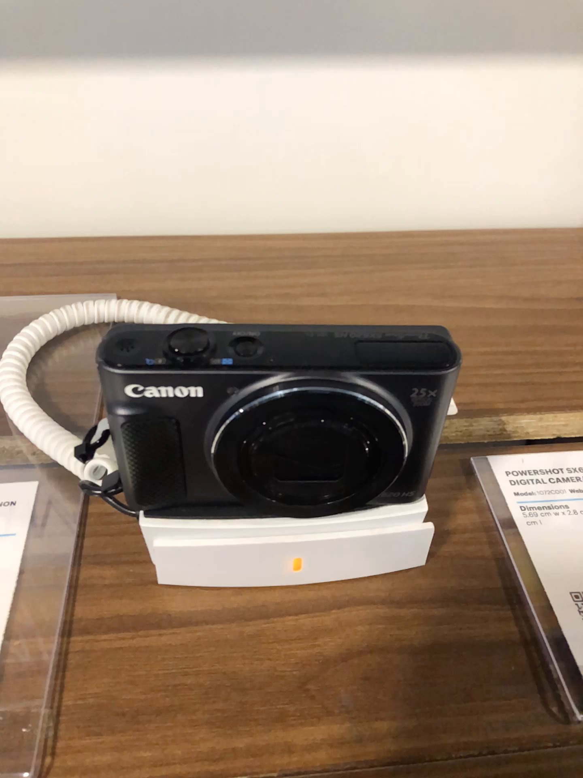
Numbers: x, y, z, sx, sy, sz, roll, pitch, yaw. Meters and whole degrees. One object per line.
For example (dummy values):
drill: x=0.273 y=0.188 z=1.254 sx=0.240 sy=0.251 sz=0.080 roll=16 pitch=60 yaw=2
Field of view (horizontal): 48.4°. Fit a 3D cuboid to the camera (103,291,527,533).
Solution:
camera: x=0.005 y=0.007 z=0.182 sx=0.100 sy=0.060 sz=0.030 roll=-2 pitch=40 yaw=-5
